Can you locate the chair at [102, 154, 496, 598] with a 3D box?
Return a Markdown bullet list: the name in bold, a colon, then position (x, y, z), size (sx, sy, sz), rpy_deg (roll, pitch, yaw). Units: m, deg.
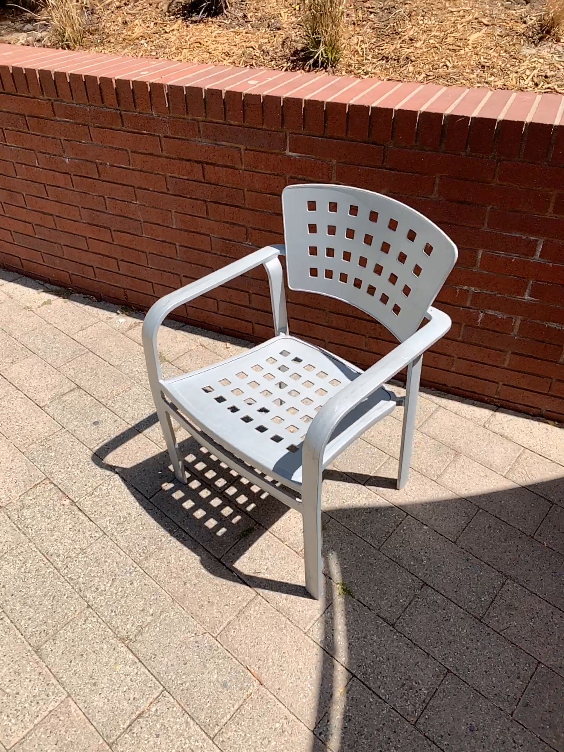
- **chair**: position (0.033, -0.027, 1.332), size (0.564, 0.698, 0.498), rpy_deg (29, 48, 32)
